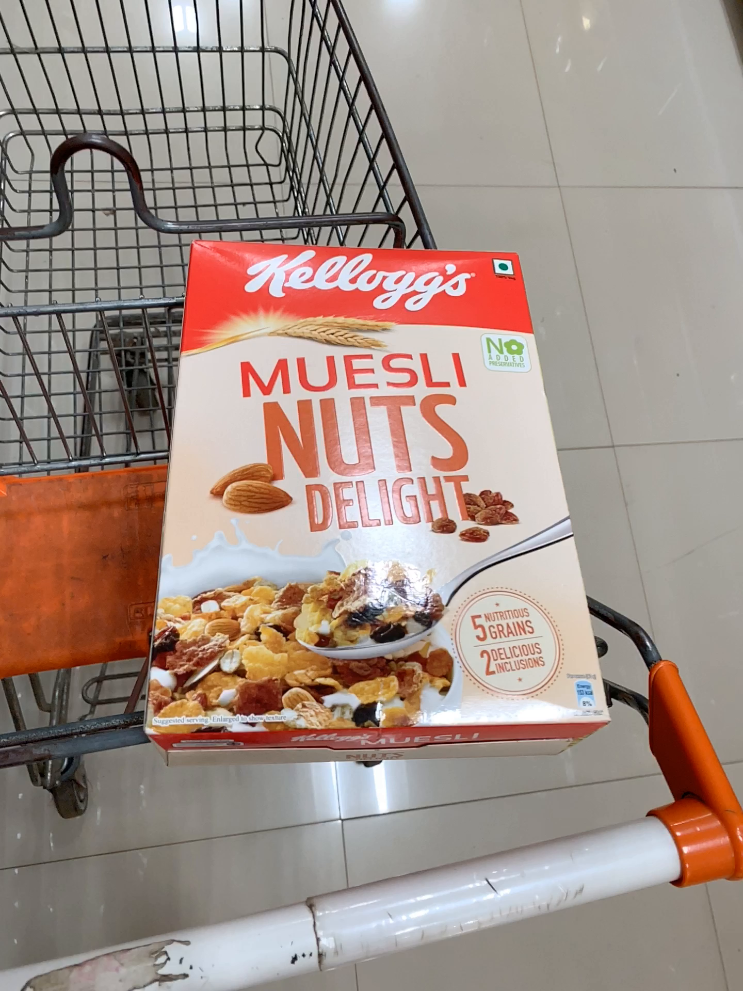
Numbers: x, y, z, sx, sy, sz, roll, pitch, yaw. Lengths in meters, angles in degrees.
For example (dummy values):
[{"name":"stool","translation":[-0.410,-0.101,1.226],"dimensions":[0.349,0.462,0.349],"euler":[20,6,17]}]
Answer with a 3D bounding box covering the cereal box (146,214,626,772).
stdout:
[{"name":"cereal box","translation":[-0.004,-0.011,0.393],"dimensions":[0.190,0.080,0.271],"euler":[0,63,-9]}]
